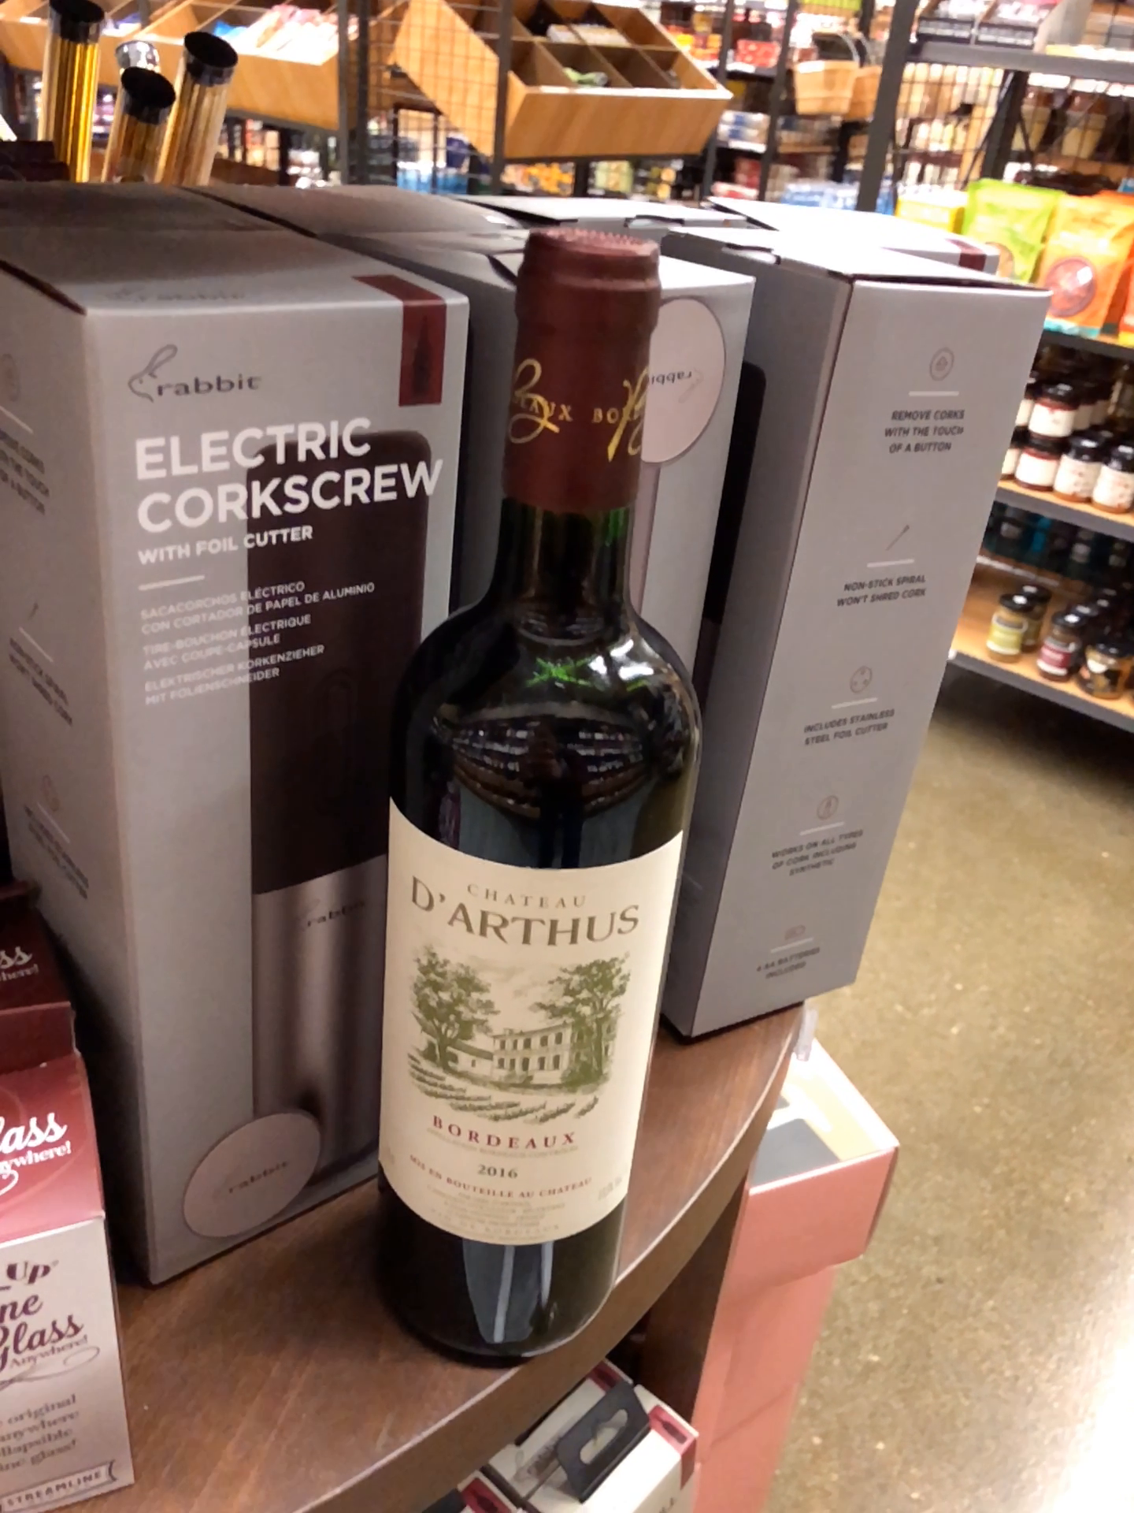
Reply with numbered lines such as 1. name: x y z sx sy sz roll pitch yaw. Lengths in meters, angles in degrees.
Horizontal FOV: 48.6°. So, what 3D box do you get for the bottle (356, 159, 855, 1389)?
1. bottle: -0.007 0.025 0.308 0.080 0.299 0.080 4 30 -2
